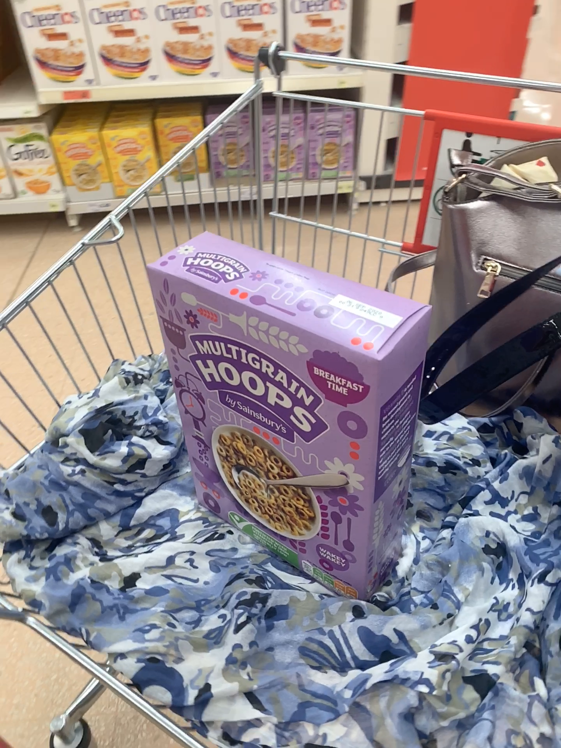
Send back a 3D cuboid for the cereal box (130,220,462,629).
[{"bbox_3d":[0.006,0.043,0.448,0.211,0.267,0.070,25,47,30],"label":"cereal box"}]
